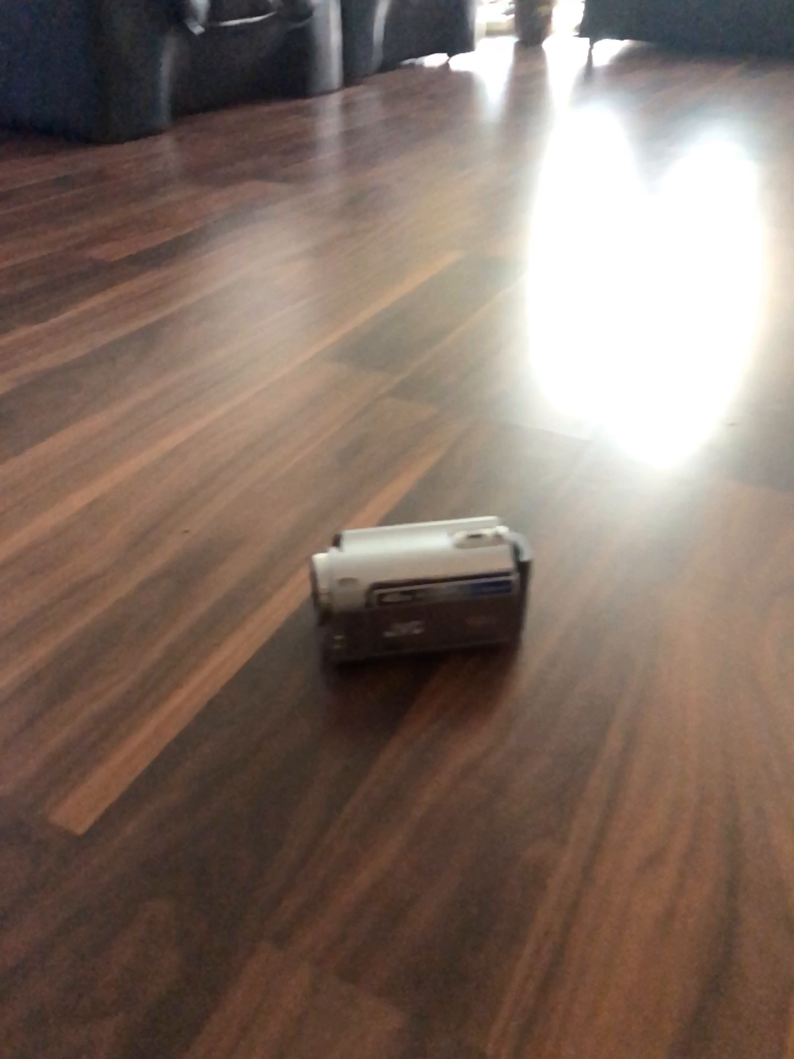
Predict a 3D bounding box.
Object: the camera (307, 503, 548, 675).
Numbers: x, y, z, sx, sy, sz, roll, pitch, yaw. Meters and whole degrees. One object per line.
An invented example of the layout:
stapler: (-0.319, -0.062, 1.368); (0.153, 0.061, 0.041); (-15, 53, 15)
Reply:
camera: (0.014, 0.031, 0.481); (0.120, 0.060, 0.060); (-5, 33, -8)
